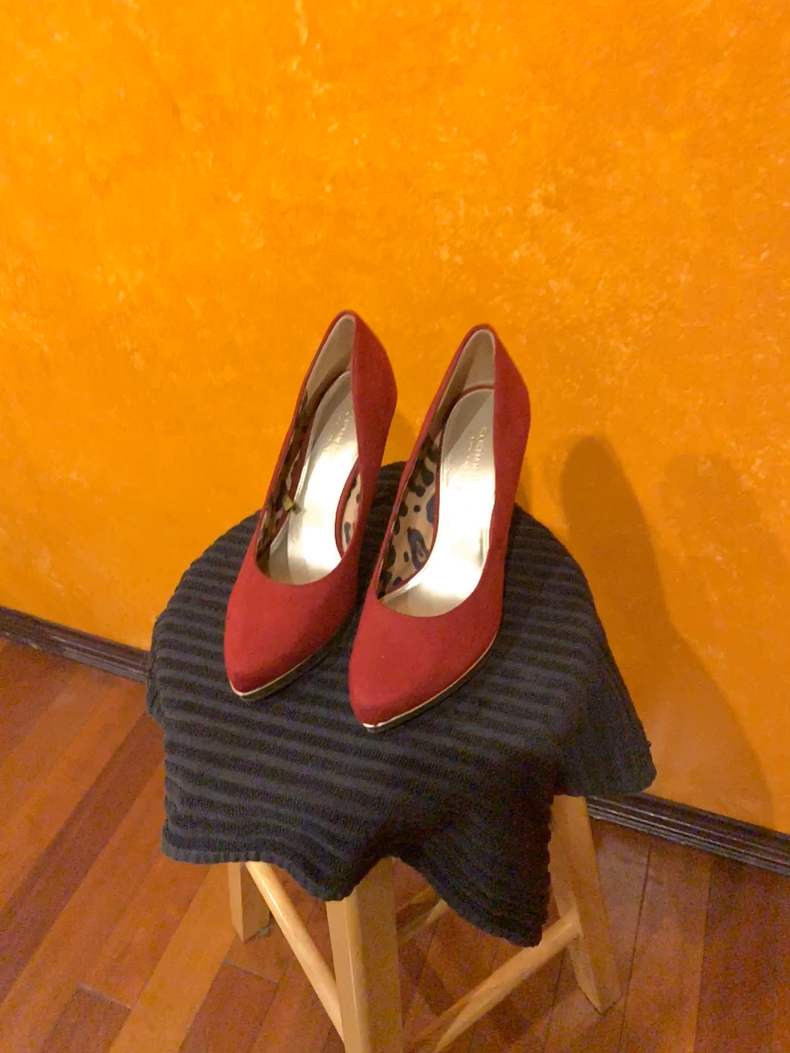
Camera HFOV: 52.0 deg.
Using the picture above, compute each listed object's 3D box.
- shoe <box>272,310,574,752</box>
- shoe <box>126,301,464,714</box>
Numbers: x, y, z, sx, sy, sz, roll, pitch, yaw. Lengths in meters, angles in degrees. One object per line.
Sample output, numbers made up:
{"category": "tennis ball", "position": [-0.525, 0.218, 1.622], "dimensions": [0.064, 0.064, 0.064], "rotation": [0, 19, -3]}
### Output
{"category": "shoe", "position": [0.031, -0.017, 0.510], "dimensions": [0.093, 0.128, 0.271], "rotation": [14, 40, 15]}
{"category": "shoe", "position": [-0.045, -0.035, 0.550], "dimensions": [0.100, 0.119, 0.291], "rotation": [14, 39, 14]}
